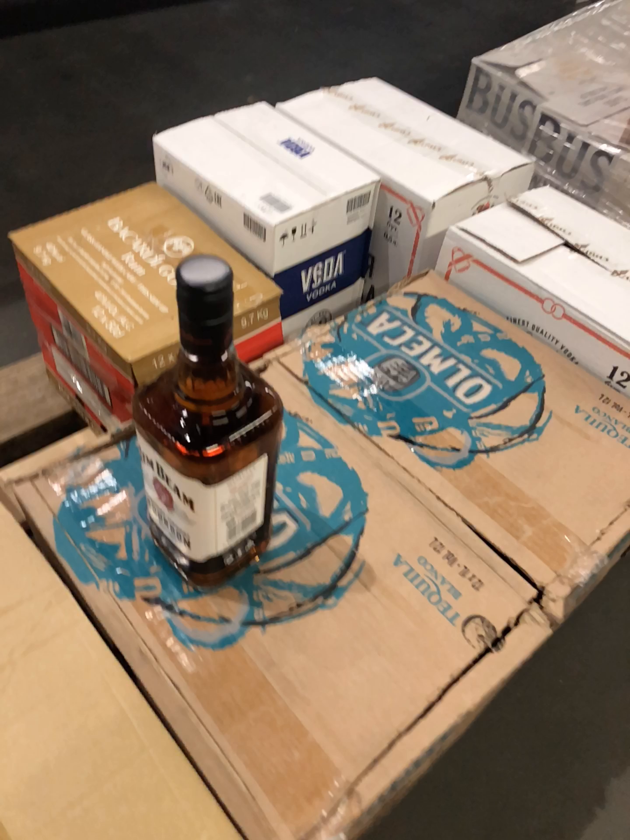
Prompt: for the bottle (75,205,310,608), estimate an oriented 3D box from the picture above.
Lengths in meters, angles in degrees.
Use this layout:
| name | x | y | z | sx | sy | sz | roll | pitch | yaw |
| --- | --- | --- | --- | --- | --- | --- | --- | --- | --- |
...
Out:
| name | x | y | z | sx | sy | sz | roll | pitch | yaw |
| --- | --- | --- | --- | --- | --- | --- | --- | --- | --- |
| bottle | -0.075 | 0.006 | 0.461 | 0.087 | 0.258 | 0.090 | 3 | 47 | -3 |
